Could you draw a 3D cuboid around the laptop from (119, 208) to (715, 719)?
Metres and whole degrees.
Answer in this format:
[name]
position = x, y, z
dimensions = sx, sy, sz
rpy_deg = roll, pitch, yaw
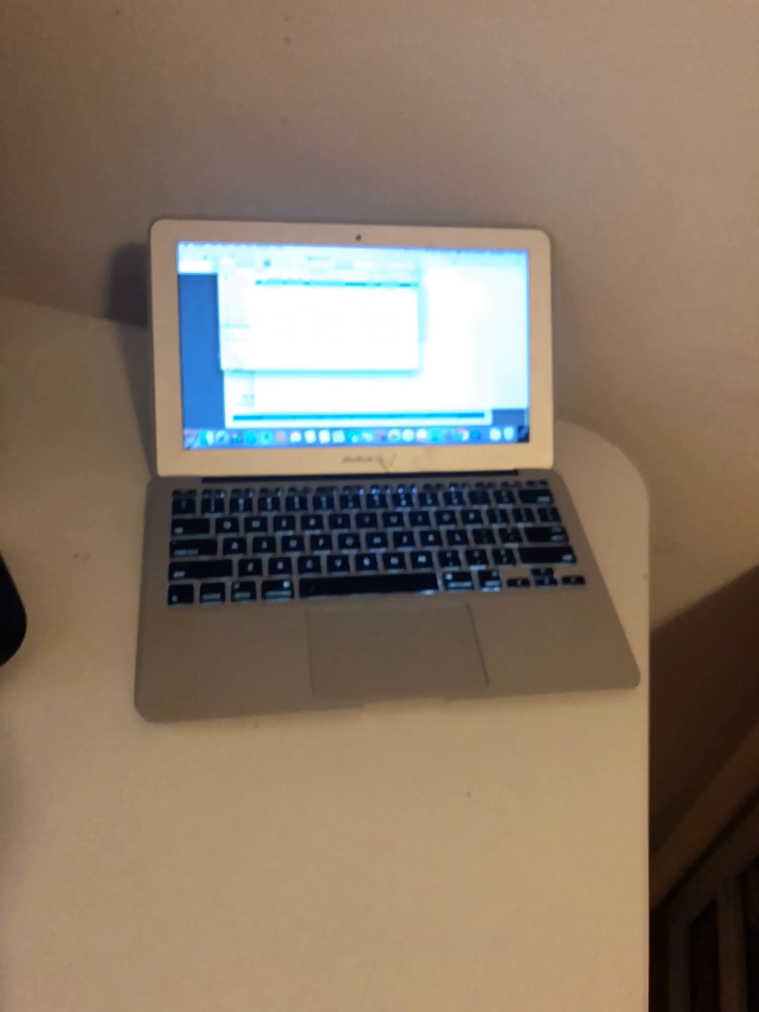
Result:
[laptop]
position = -0.002, -0.050, 0.534
dimensions = 0.280, 0.126, 0.307
rpy_deg = -2, 47, -9
